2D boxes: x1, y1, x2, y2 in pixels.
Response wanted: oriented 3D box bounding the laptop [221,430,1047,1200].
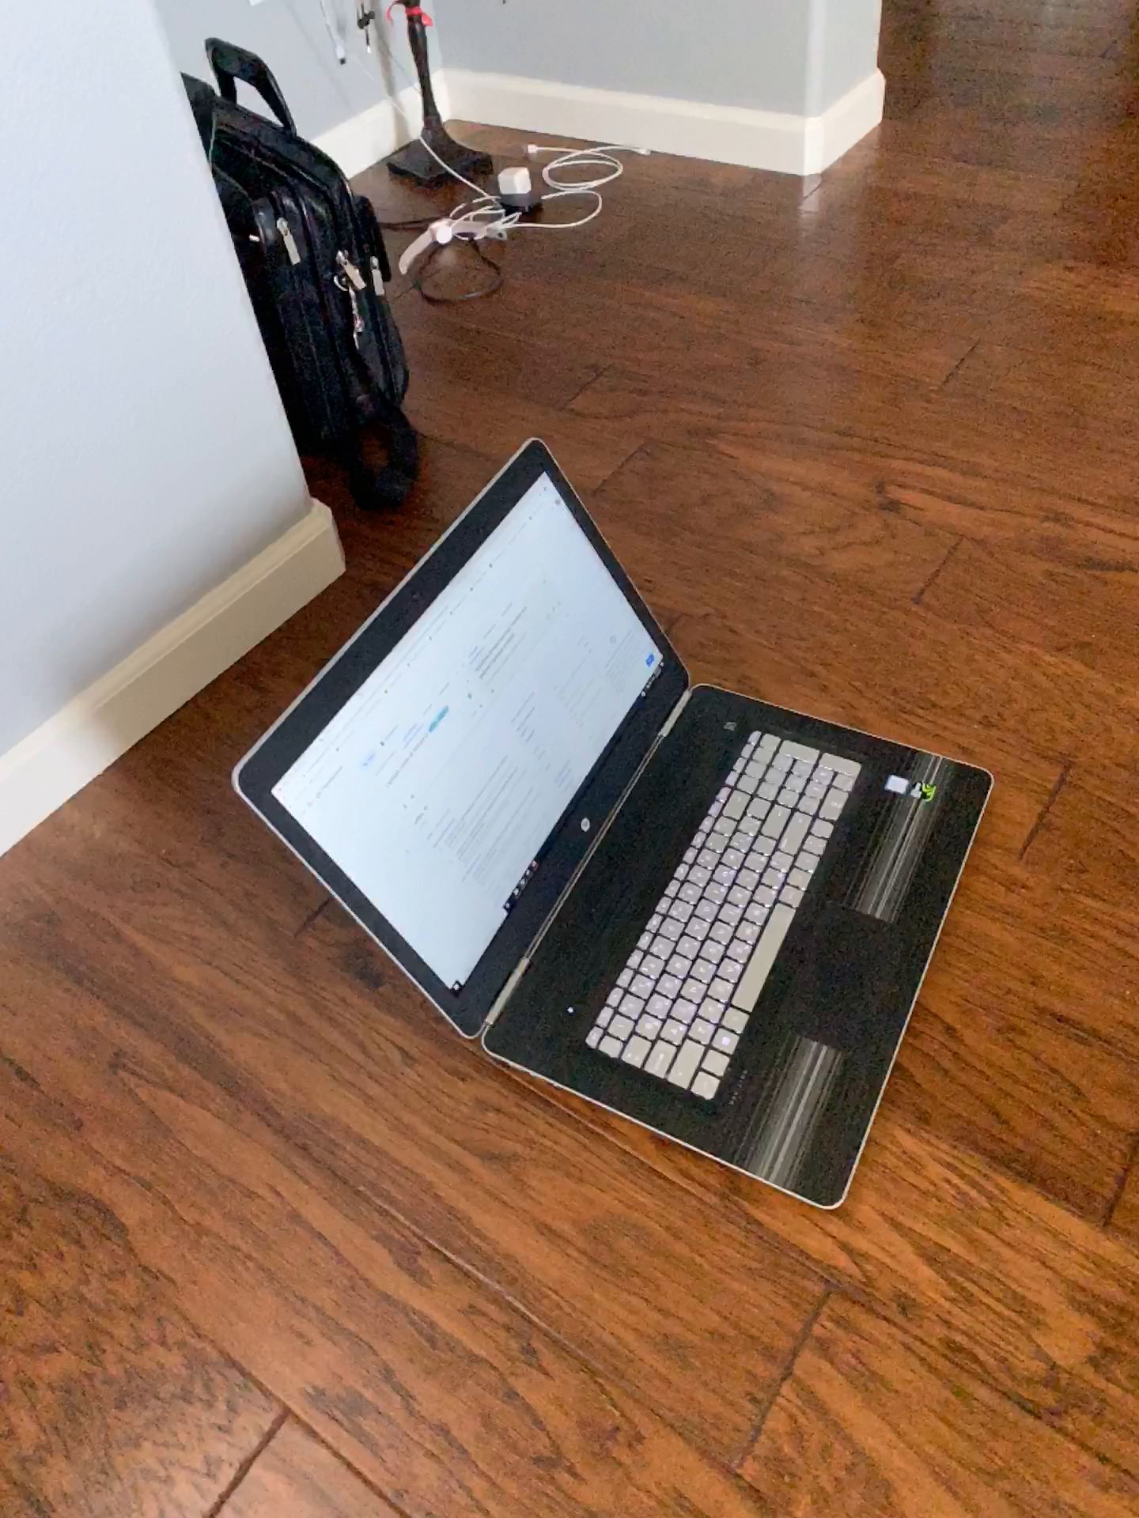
[{"bbox_3d":[0.070,0.008,0.871,0.422,0.233,0.412,18,53,20],"label":"laptop"}]
